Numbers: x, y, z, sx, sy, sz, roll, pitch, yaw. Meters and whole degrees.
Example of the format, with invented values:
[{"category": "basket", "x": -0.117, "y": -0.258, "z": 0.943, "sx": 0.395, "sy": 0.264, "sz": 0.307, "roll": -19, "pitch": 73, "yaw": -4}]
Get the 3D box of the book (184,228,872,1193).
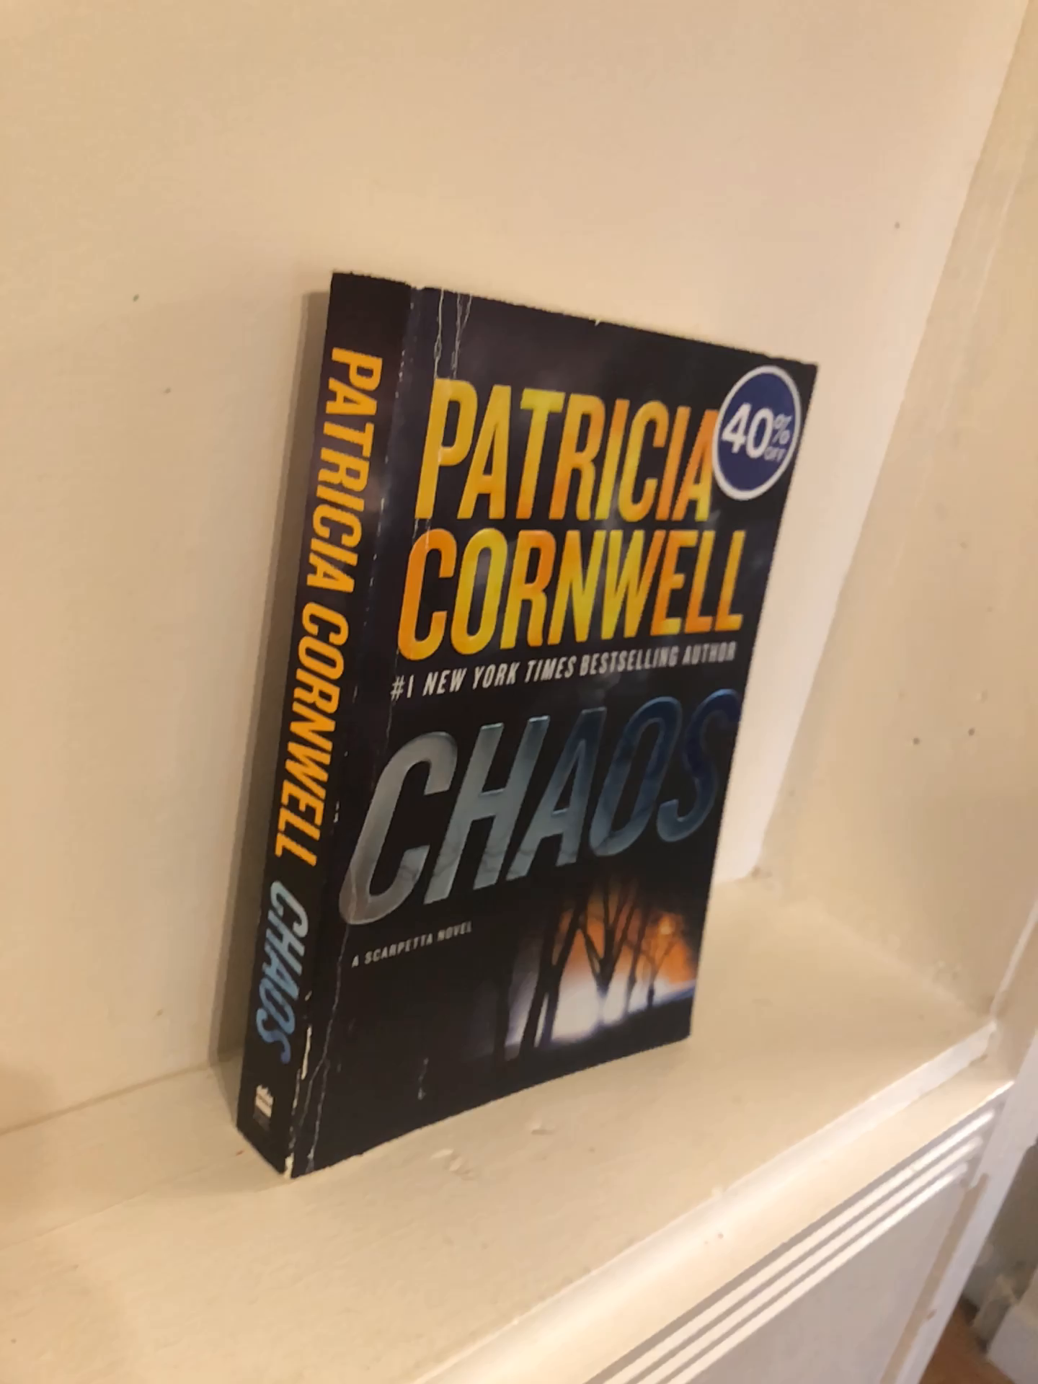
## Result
[{"category": "book", "x": 0.005, "y": 0.003, "z": 0.322, "sx": 0.170, "sy": 0.219, "sz": 0.050, "roll": -4, "pitch": 18, "yaw": -38}]
